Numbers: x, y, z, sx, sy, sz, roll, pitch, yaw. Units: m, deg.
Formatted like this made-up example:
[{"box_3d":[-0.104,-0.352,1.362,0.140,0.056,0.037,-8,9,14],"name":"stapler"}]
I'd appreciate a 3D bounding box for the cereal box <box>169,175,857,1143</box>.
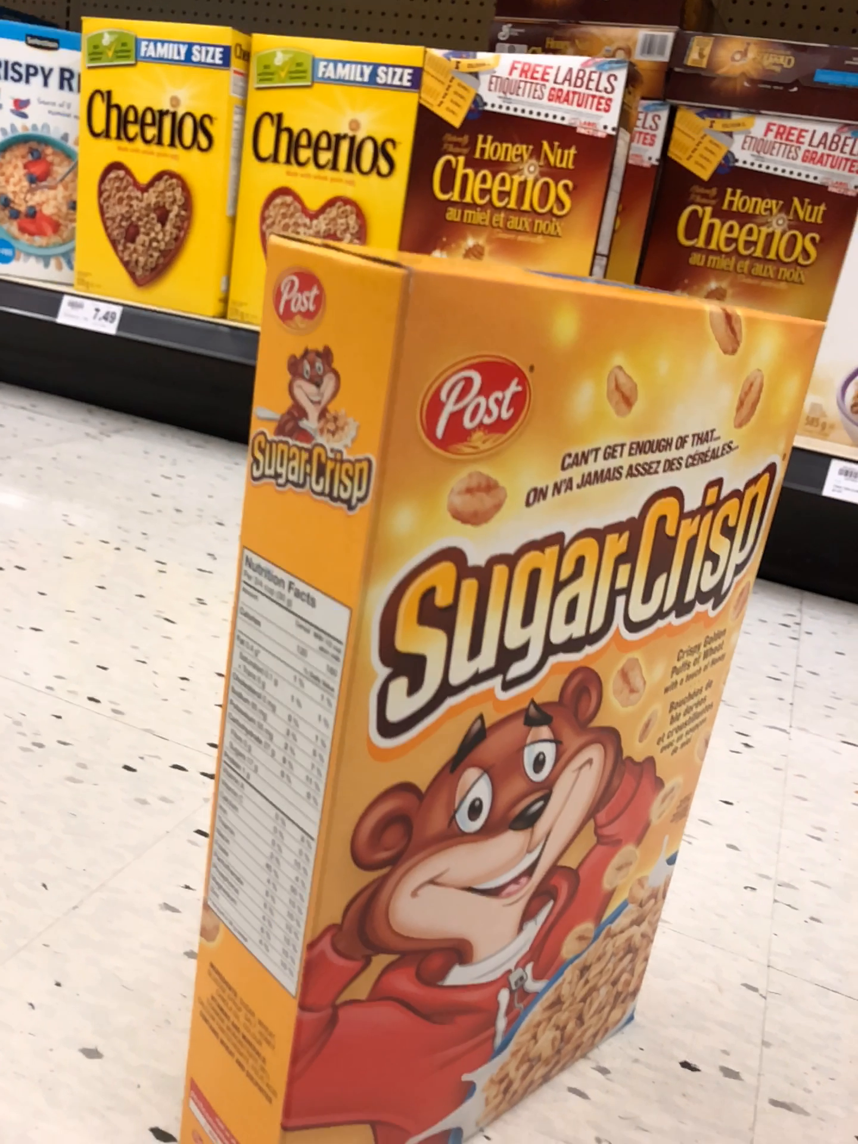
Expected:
[{"box_3d":[0.037,0.050,0.309,0.210,0.299,0.060,-8,25,-43],"name":"cereal box"}]
